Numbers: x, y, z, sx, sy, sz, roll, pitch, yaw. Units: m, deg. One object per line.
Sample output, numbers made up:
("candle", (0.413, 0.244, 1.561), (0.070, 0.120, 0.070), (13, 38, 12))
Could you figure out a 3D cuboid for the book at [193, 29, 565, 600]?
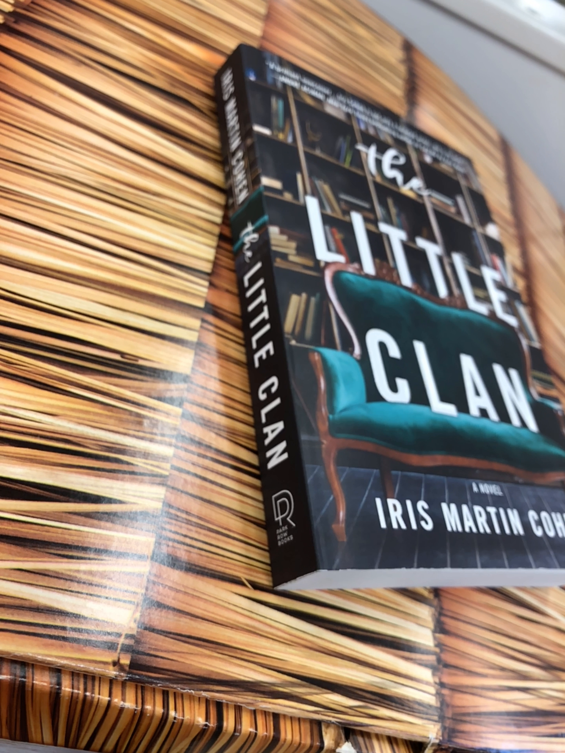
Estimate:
("book", (0.040, -0.024, 0.225), (0.130, 0.030, 0.190), (12, 54, -31))
